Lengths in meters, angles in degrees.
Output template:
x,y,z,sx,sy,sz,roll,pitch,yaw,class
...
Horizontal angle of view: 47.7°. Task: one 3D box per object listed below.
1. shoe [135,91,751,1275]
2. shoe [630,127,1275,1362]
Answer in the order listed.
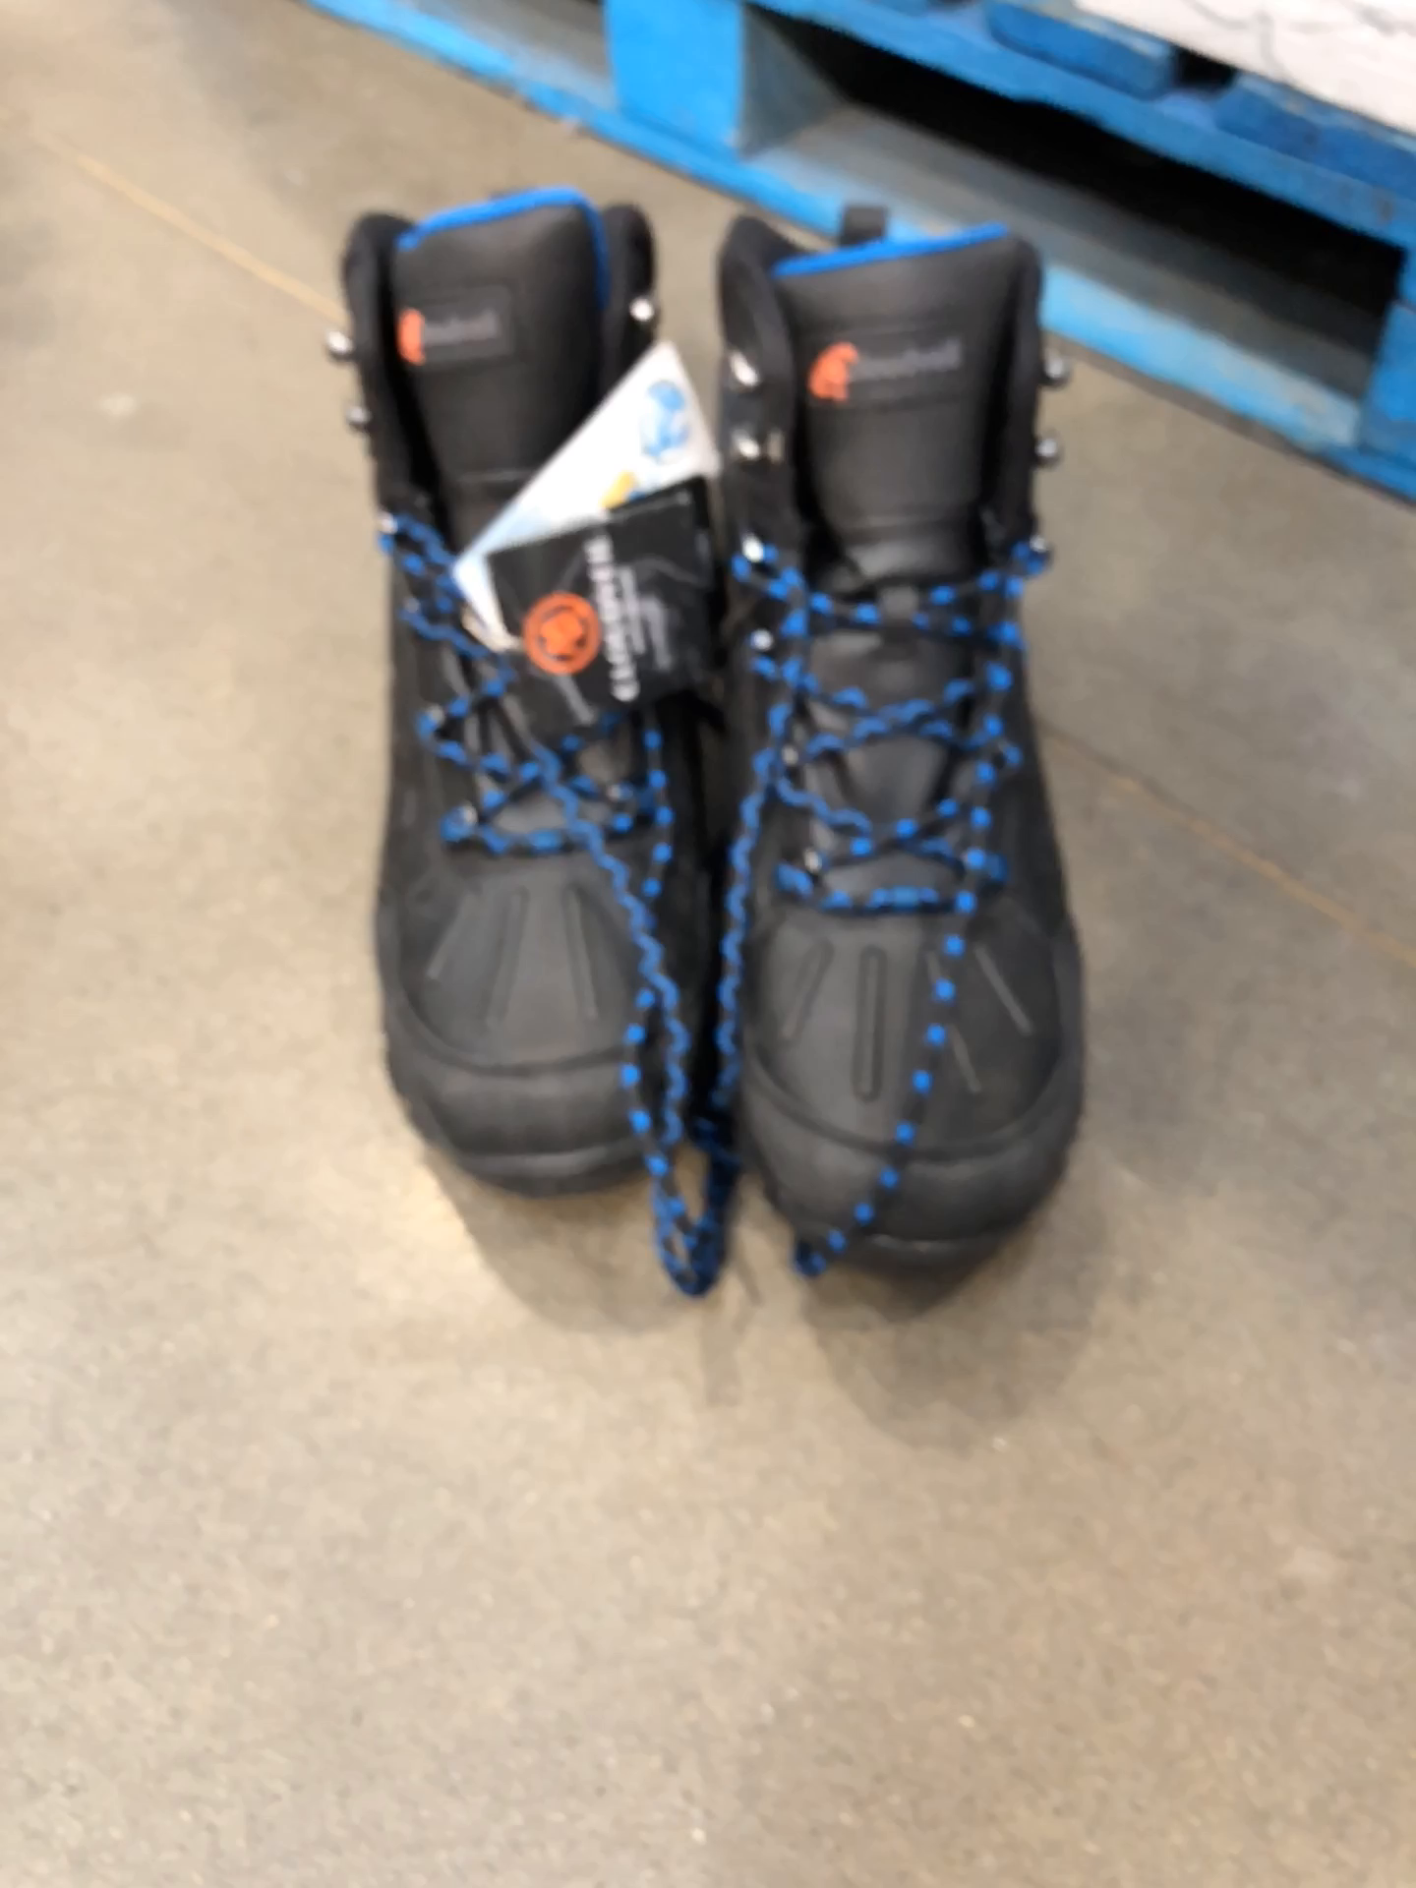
x,y,z,sx,sy,sz,roll,pitch,yaw,class
-0.061,-0.086,0.502,0.120,0.209,0.301,-5,52,0,shoe
0.055,-0.062,0.475,0.120,0.209,0.301,0,52,3,shoe
